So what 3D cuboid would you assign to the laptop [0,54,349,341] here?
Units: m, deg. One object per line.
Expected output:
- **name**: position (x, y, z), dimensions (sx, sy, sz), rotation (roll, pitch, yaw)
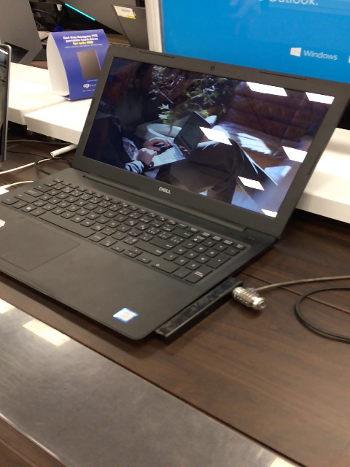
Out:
- **laptop**: position (-0.066, -0.090, 0.617), dimensions (0.392, 0.192, 0.371), rotation (26, 44, 31)
